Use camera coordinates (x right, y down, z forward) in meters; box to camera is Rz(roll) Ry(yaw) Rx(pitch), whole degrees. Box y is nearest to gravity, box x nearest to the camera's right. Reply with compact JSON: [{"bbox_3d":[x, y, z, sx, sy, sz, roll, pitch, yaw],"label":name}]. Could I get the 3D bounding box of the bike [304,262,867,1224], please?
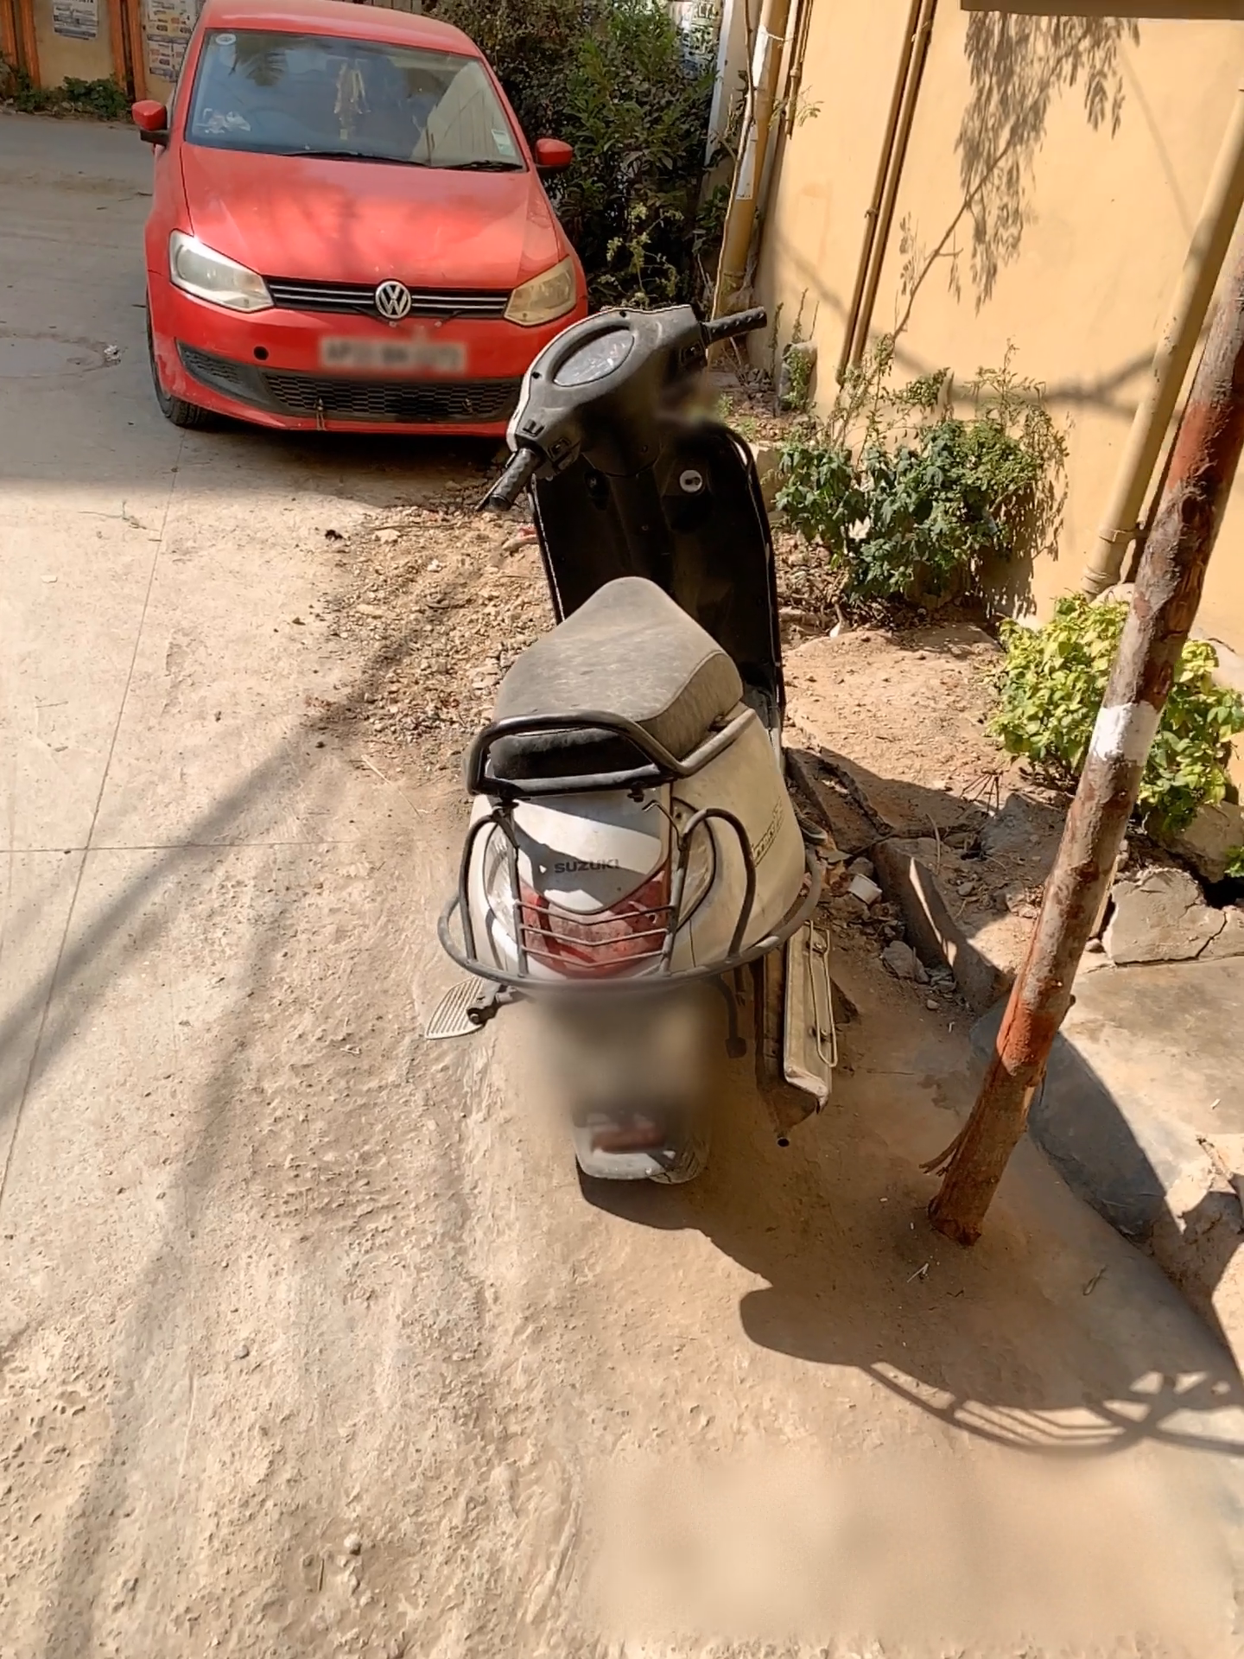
[{"bbox_3d":[-0.021,-0.291,2.139,0.549,1.001,1.516,8,31,1],"label":"bike"}]
